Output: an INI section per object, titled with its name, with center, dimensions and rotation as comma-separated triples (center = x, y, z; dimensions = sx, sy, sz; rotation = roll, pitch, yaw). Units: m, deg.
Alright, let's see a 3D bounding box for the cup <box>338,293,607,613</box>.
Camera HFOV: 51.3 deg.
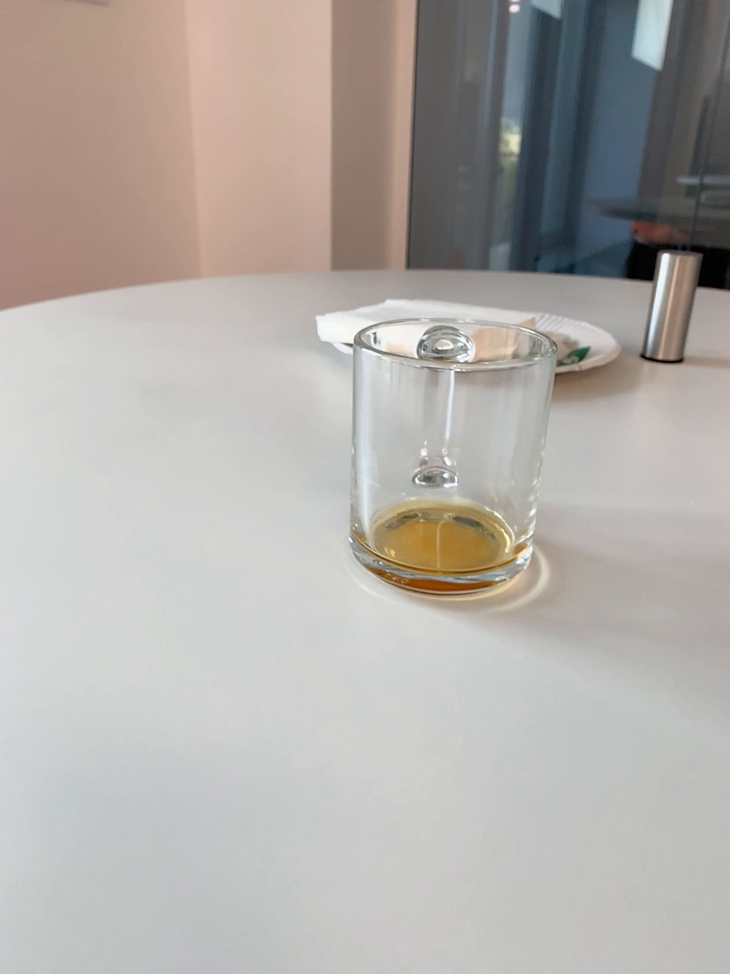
[cup]
center = 0.036, -0.020, 0.299
dimensions = 0.082, 0.090, 0.102
rotation = 3, 24, 4
